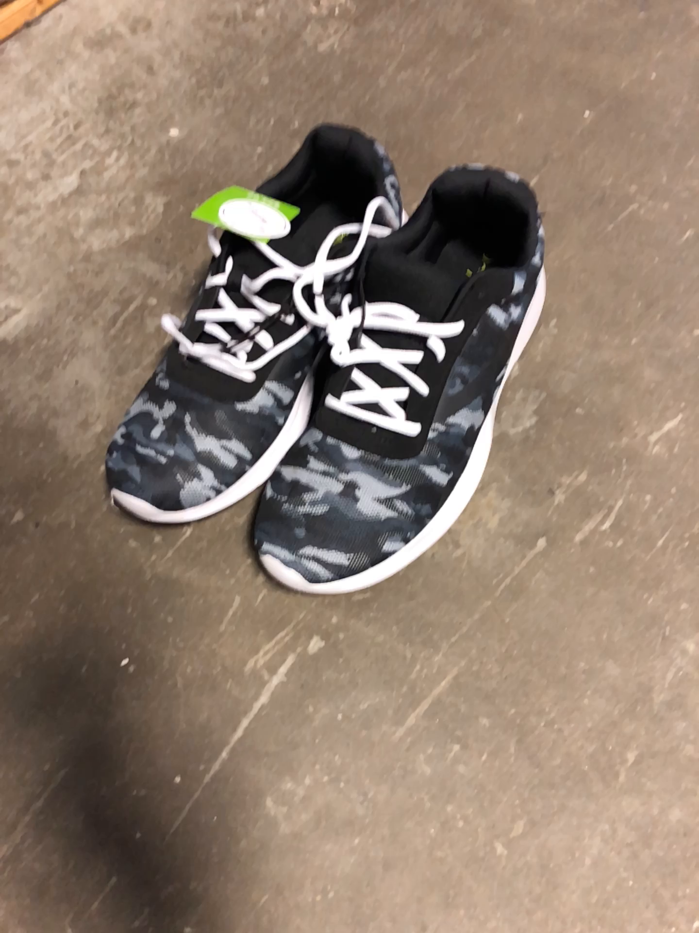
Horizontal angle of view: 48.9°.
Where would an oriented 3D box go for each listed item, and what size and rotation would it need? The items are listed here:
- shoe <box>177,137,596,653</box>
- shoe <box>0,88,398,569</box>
[{"bbox_3d":[0.035,-0.048,0.471,0.120,0.139,0.261,23,64,17],"label":"shoe"},{"bbox_3d":[-0.076,-0.093,0.497,0.110,0.139,0.261,23,64,17],"label":"shoe"}]
